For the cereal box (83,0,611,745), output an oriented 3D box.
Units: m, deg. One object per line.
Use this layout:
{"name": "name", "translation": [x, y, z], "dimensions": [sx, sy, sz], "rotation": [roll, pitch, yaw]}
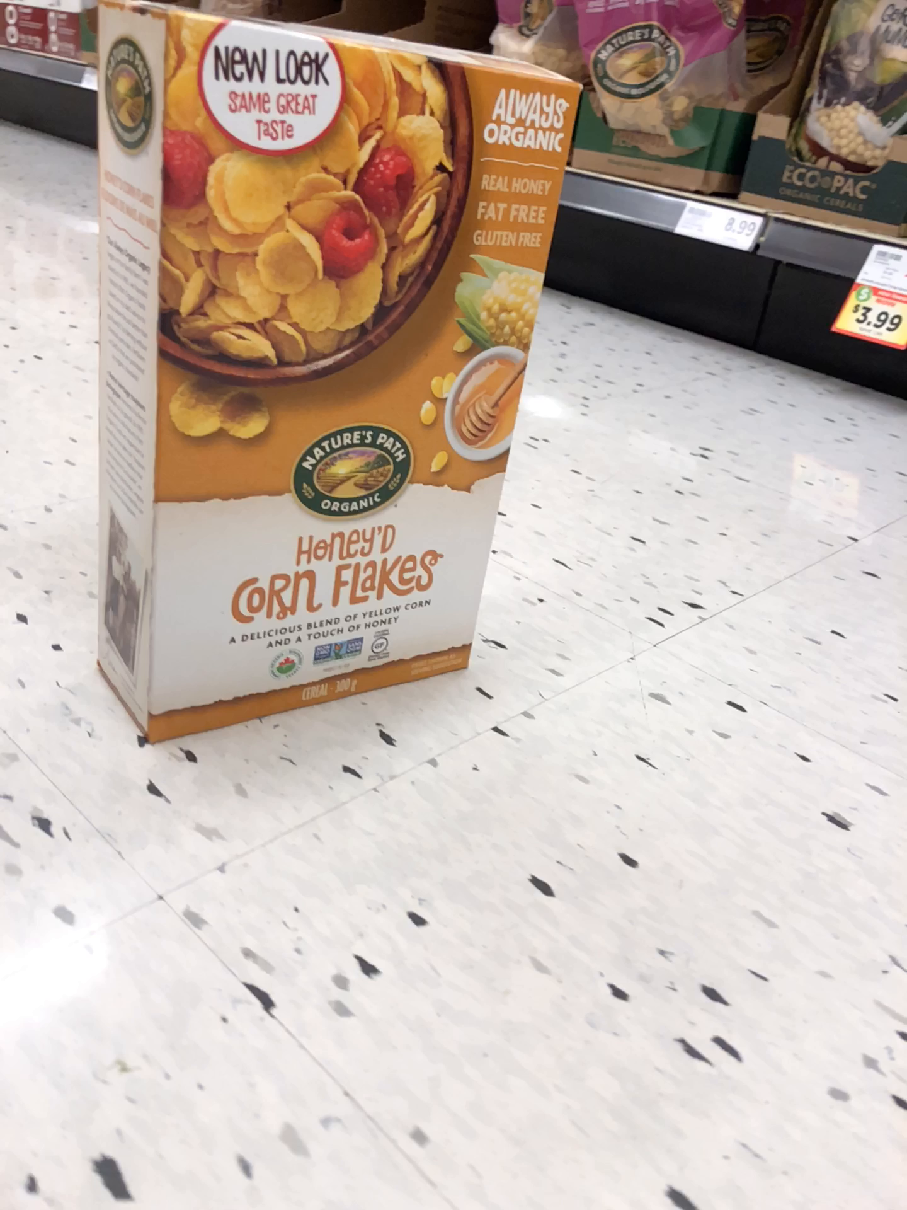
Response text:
{"name": "cereal box", "translation": [-0.047, -0.079, 0.376], "dimensions": [0.160, 0.239, 0.060], "rotation": [-10, 34, -33]}
